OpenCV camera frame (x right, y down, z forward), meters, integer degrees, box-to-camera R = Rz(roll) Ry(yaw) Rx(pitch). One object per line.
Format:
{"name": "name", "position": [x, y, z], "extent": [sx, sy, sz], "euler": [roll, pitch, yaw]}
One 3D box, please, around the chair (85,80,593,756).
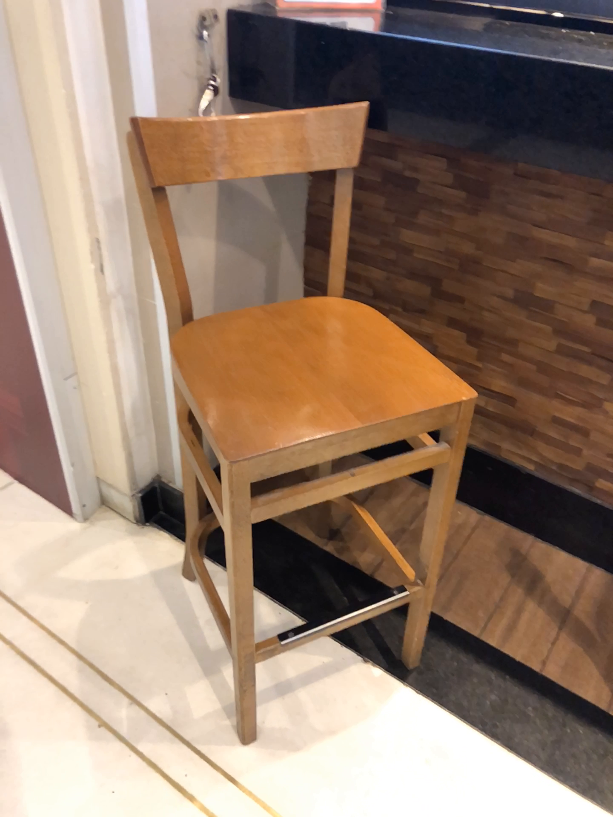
{"name": "chair", "position": [-0.014, 0.027, 1.195], "extent": [0.481, 0.993, 0.533], "euler": [-15, 41, -23]}
